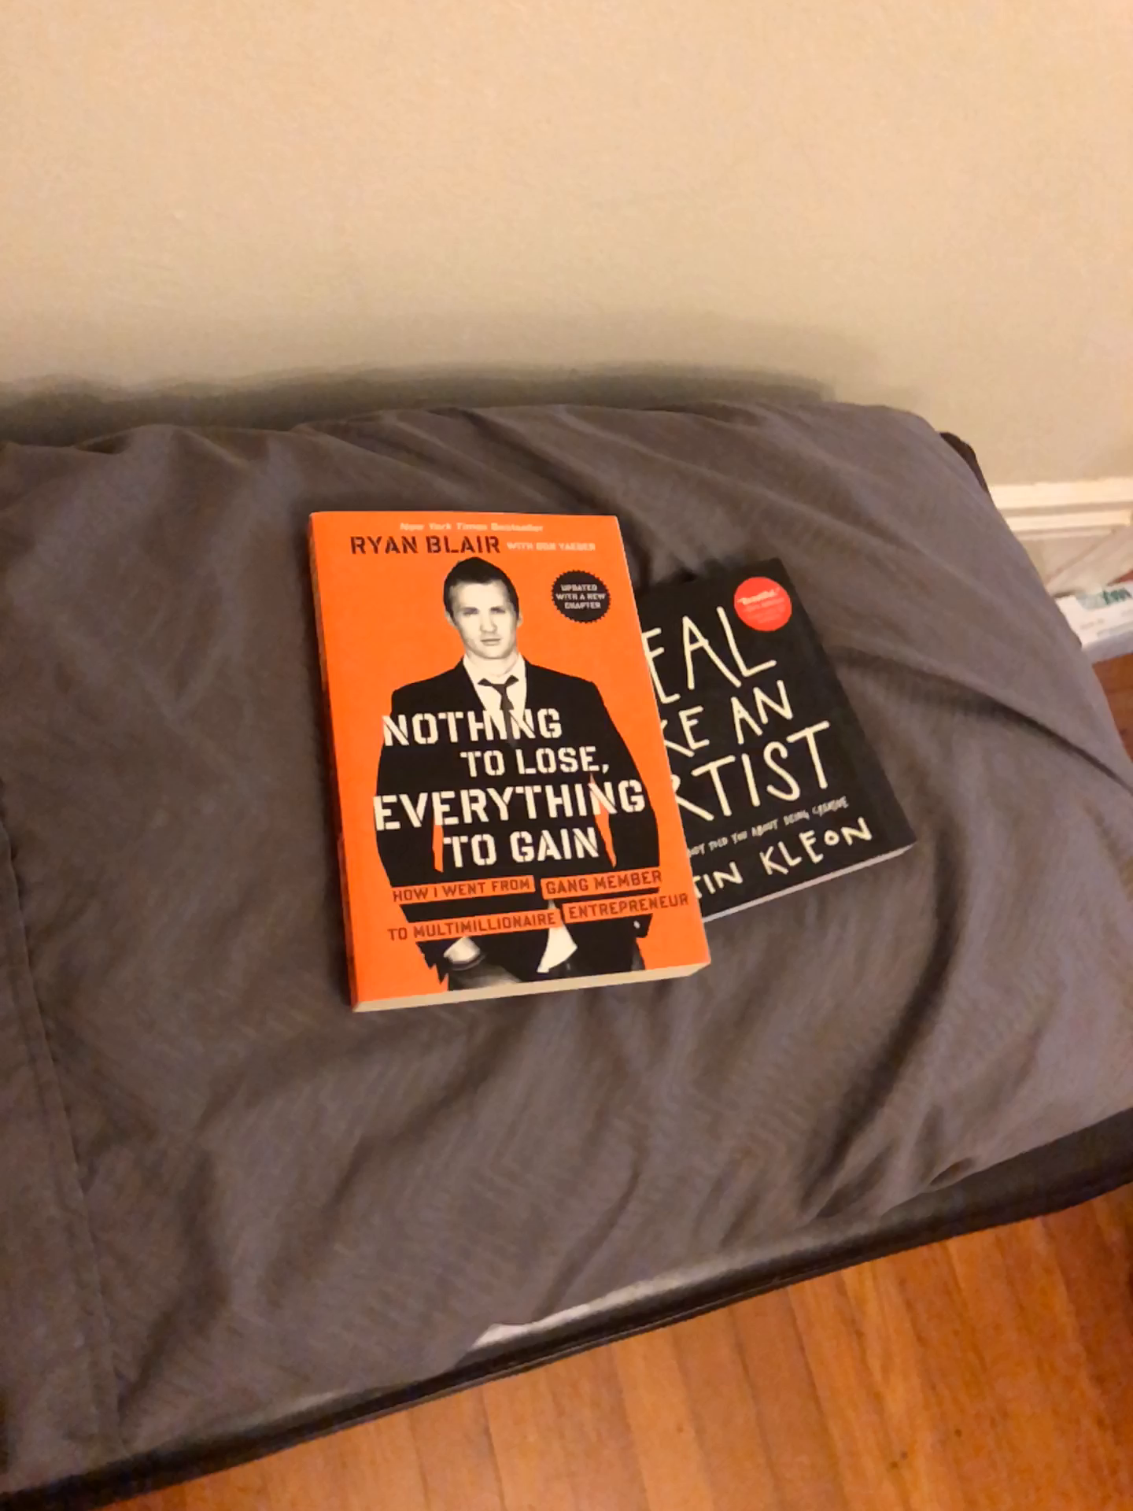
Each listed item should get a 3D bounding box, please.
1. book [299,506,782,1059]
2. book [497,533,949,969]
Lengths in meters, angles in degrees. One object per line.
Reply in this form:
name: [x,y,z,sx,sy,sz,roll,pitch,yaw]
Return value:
book: [-0.015,-0.001,0.529,0.170,0.020,0.230,-3,69,-20]
book: [0.070,-0.010,0.564,0.150,0.020,0.170,-17,72,-24]
